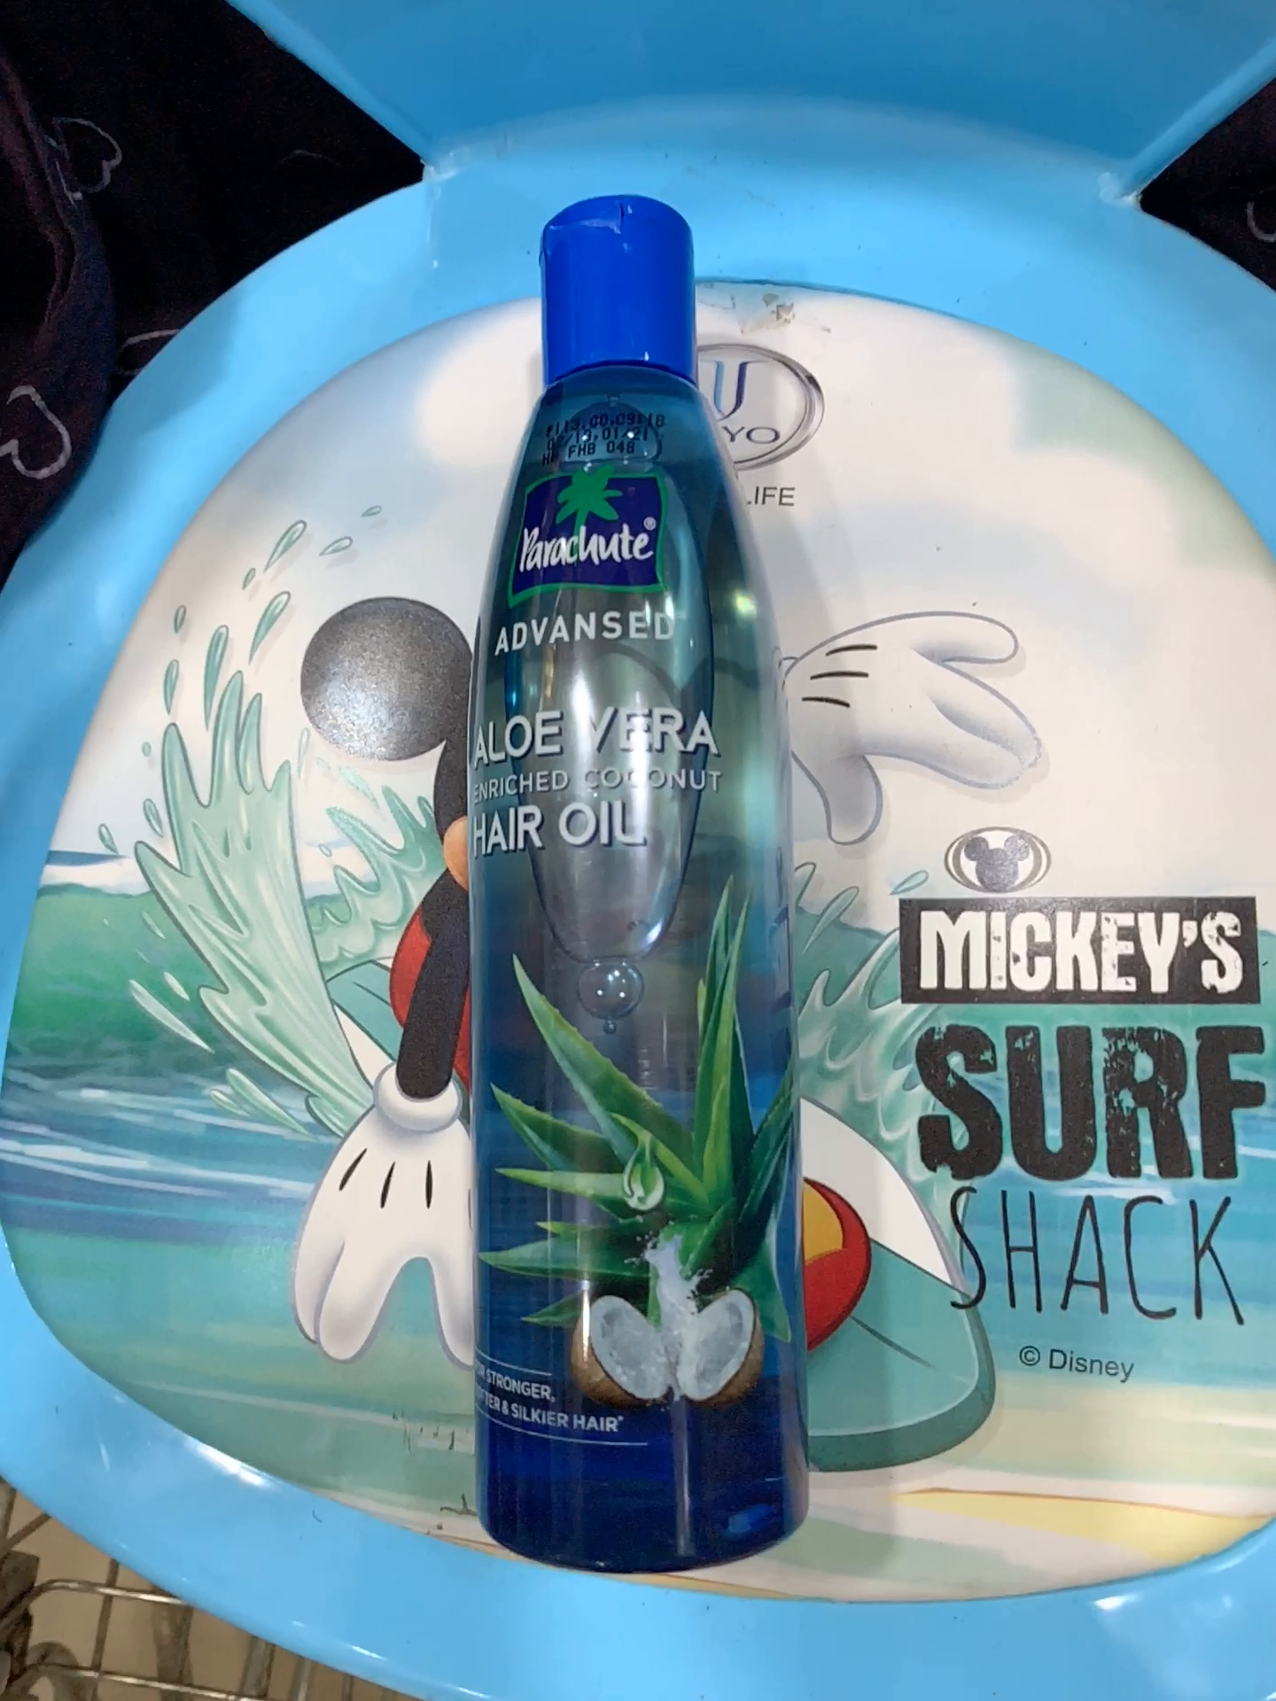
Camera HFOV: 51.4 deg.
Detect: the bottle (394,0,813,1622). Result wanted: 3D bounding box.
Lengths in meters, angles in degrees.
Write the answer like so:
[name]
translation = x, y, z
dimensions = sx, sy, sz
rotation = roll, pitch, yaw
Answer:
[bottle]
translation = -0.002, -0.009, 0.187
dimensions = 0.050, 0.050, 0.200
rotation = -1, 87, 8
